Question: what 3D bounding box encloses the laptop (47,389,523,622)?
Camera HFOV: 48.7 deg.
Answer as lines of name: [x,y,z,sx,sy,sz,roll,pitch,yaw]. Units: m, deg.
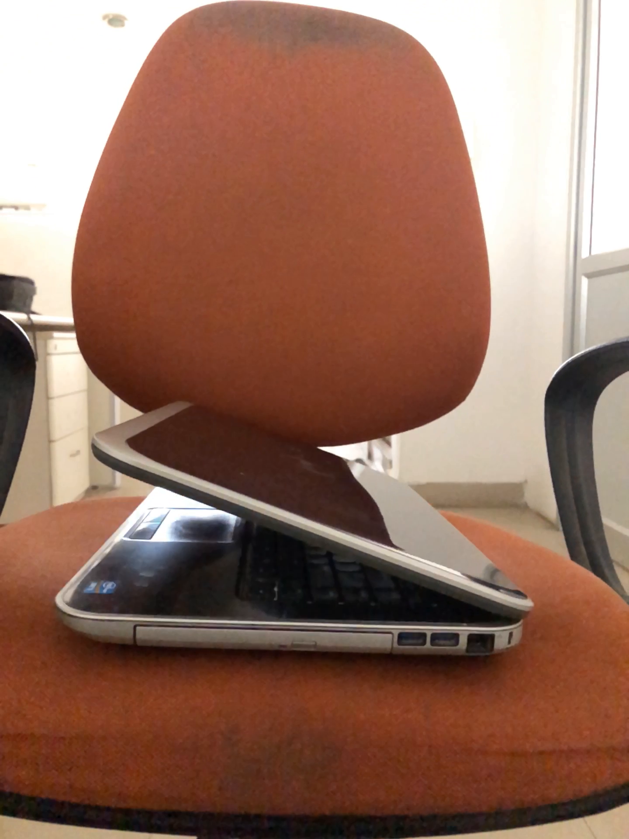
laptop: [-0.023,0.037,0.527,0.233,0.091,0.366,3,4,-4]
